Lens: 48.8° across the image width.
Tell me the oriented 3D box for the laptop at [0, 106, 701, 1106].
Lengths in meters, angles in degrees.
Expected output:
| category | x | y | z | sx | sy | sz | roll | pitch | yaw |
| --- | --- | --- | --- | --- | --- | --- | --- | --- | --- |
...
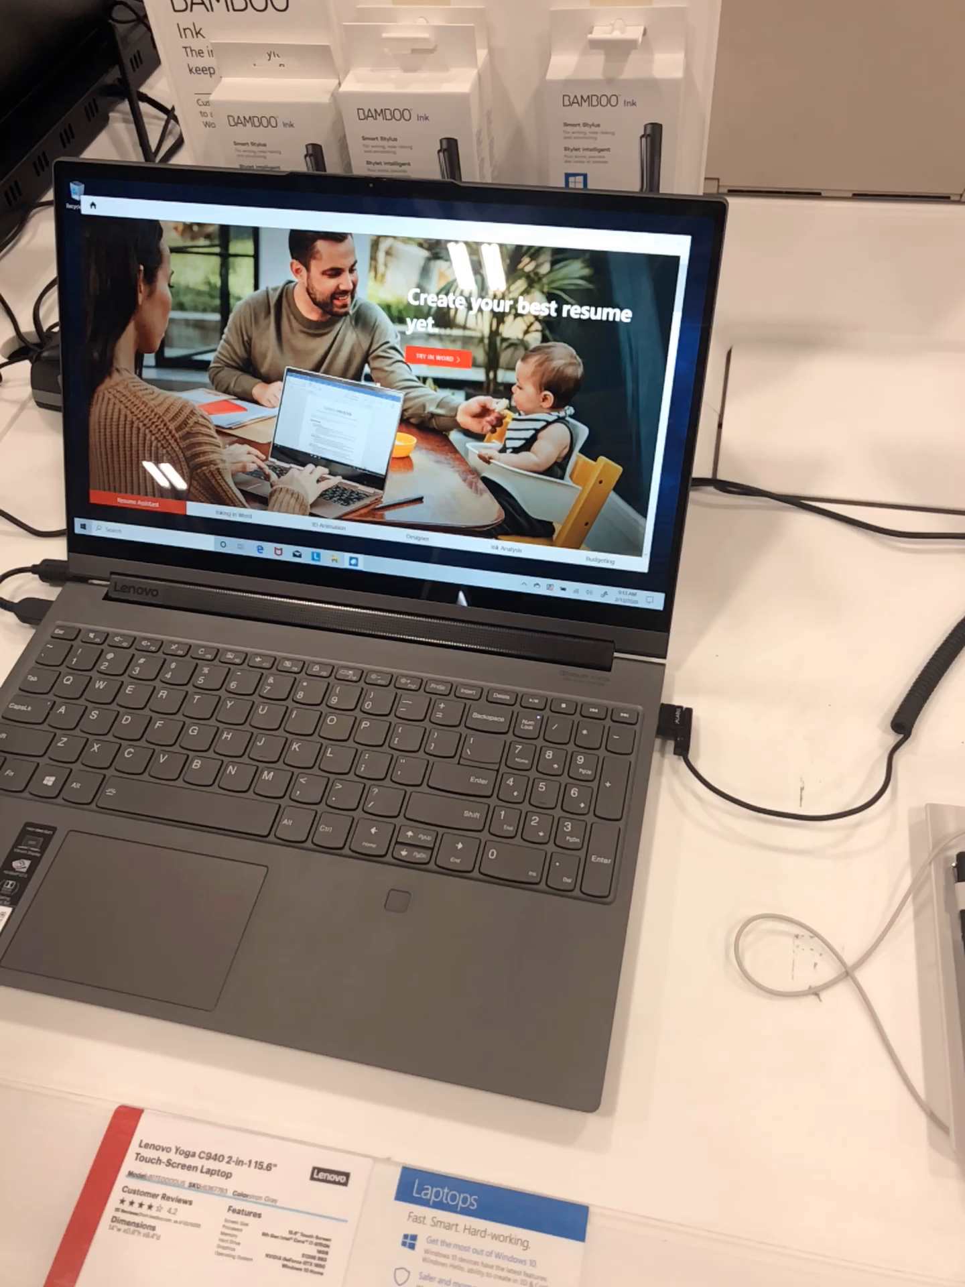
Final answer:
| category | x | y | z | sx | sy | sz | roll | pitch | yaw |
| --- | --- | --- | --- | --- | --- | --- | --- | --- | --- |
| laptop | -0.093 | -0.045 | 0.498 | 0.336 | 0.169 | 0.375 | 8 | 58 | 10 |
